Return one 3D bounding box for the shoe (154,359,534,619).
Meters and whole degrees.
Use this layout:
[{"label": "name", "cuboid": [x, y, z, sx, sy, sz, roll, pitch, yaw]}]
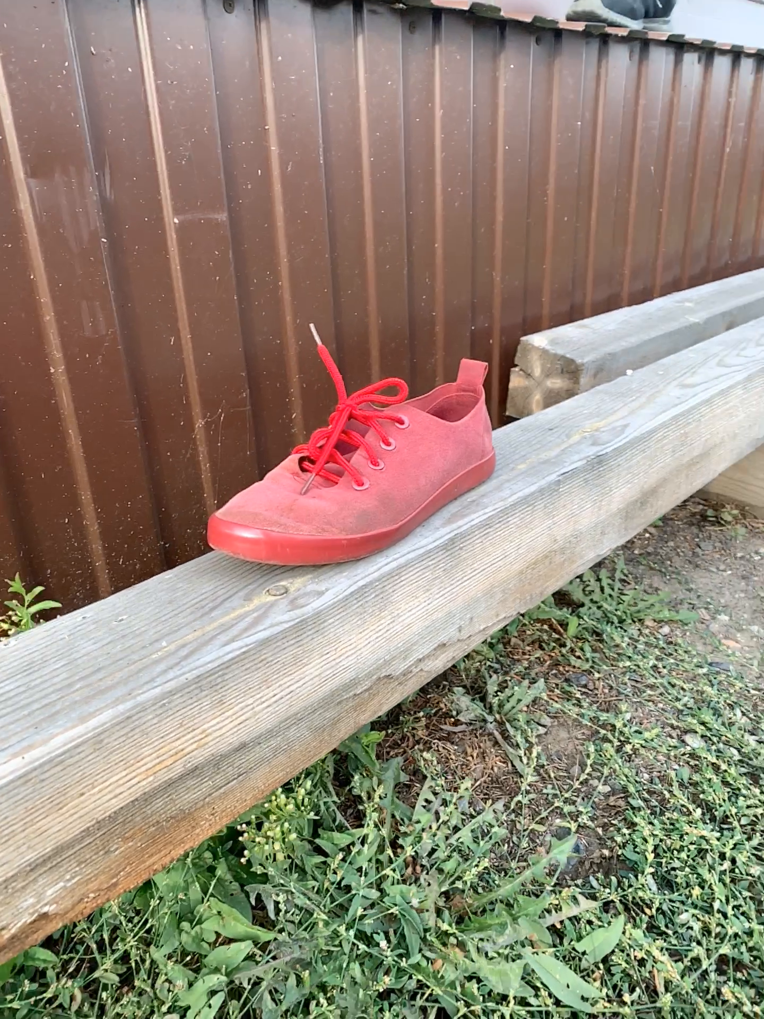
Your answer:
[{"label": "shoe", "cuboid": [-0.007, -0.030, 0.489, 0.100, 0.069, 0.241, 14, 29, 35]}]
